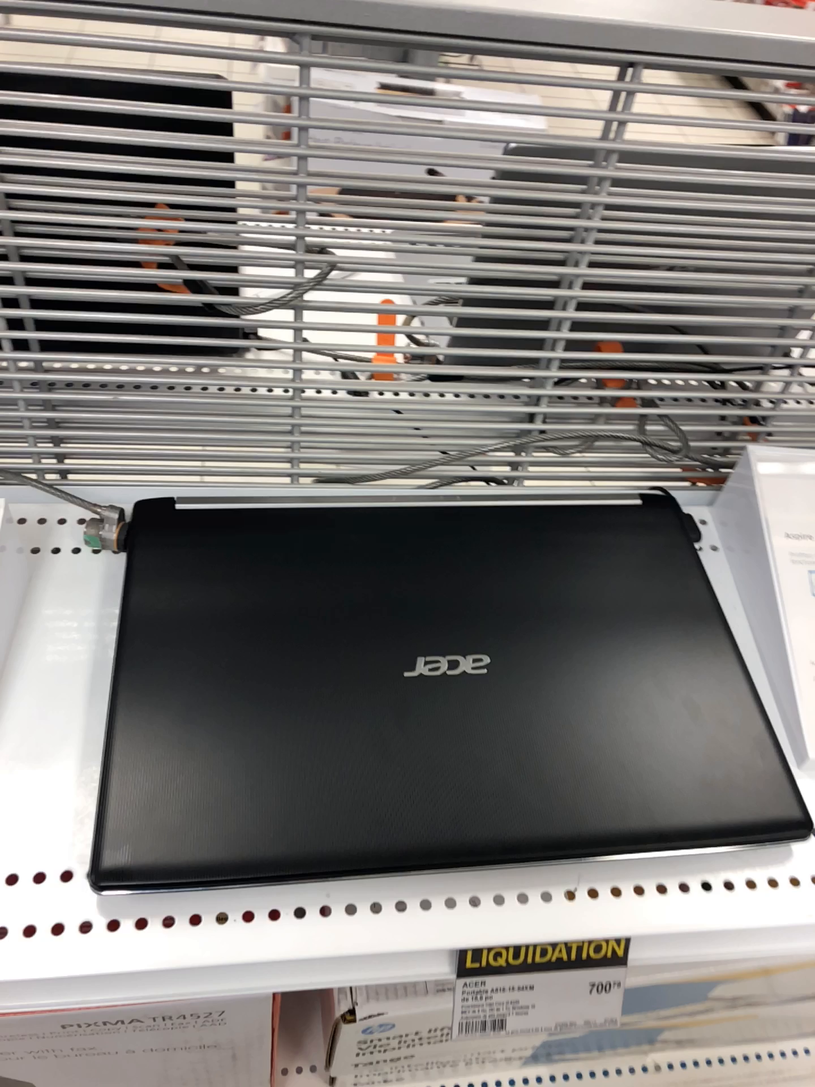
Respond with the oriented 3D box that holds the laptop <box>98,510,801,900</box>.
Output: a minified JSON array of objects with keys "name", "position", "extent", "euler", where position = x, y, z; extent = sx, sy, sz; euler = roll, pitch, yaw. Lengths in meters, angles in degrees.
[{"name":"laptop","position":[0.022,0.073,0.525],"extent":[0.361,0.012,0.228],"euler":[-1,51,-10]}]
